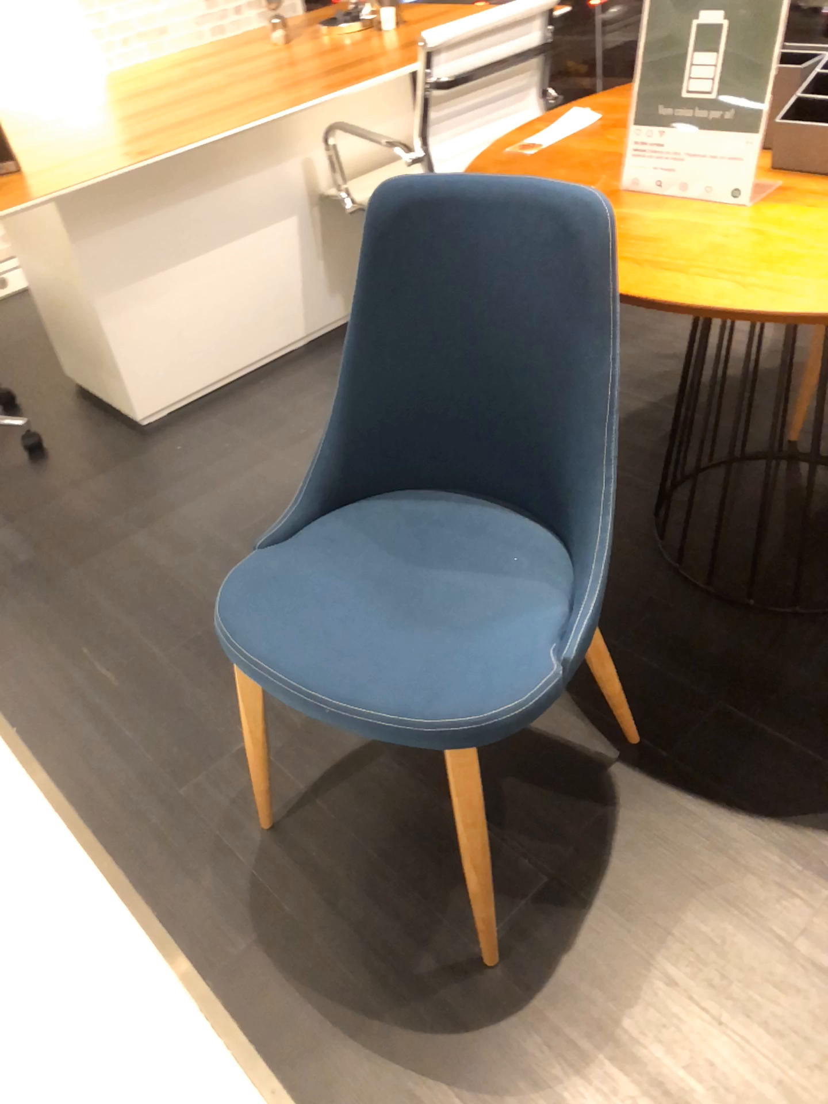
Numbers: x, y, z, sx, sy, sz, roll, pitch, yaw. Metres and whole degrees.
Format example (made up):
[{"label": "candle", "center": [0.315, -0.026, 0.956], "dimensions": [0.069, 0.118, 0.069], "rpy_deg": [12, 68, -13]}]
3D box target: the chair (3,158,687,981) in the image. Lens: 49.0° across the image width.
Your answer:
[{"label": "chair", "center": [-0.005, 0.008, 1.236], "dimensions": [0.522, 0.853, 0.542], "rpy_deg": [19, 47, 32]}]
